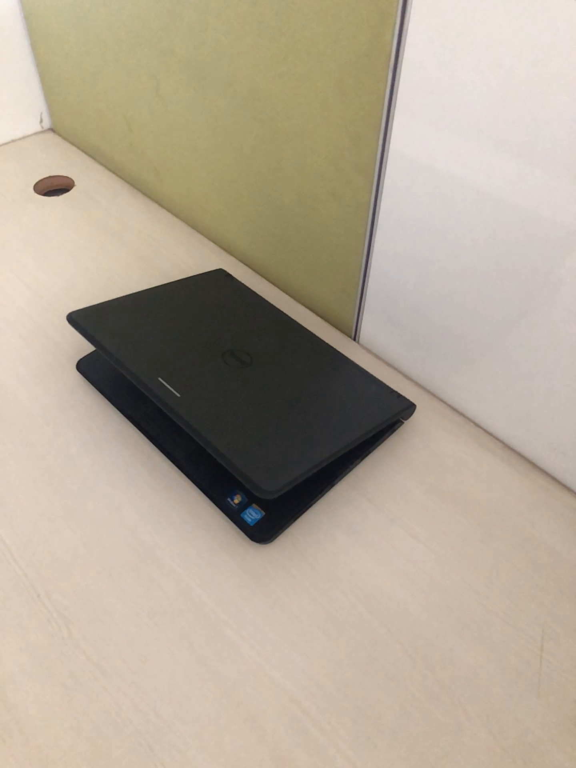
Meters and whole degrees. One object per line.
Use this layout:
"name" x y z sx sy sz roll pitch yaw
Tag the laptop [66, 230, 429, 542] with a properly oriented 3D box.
"laptop" -0.050 -0.023 0.697 0.229 0.072 0.323 -36 58 -28
